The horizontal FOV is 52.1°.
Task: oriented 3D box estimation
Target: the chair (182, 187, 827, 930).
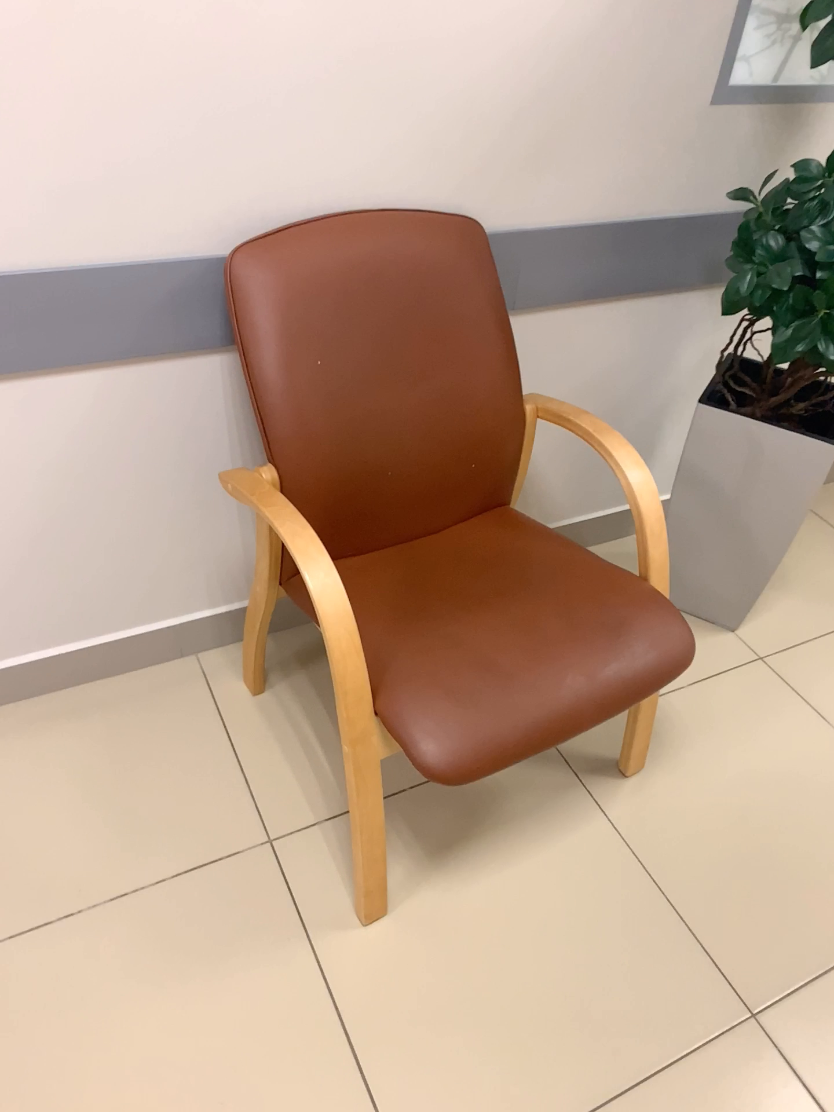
[{"bbox_3d":[0.064,-0.011,1.485,0.672,0.985,0.602,-18,45,-28],"label":"chair"}]
